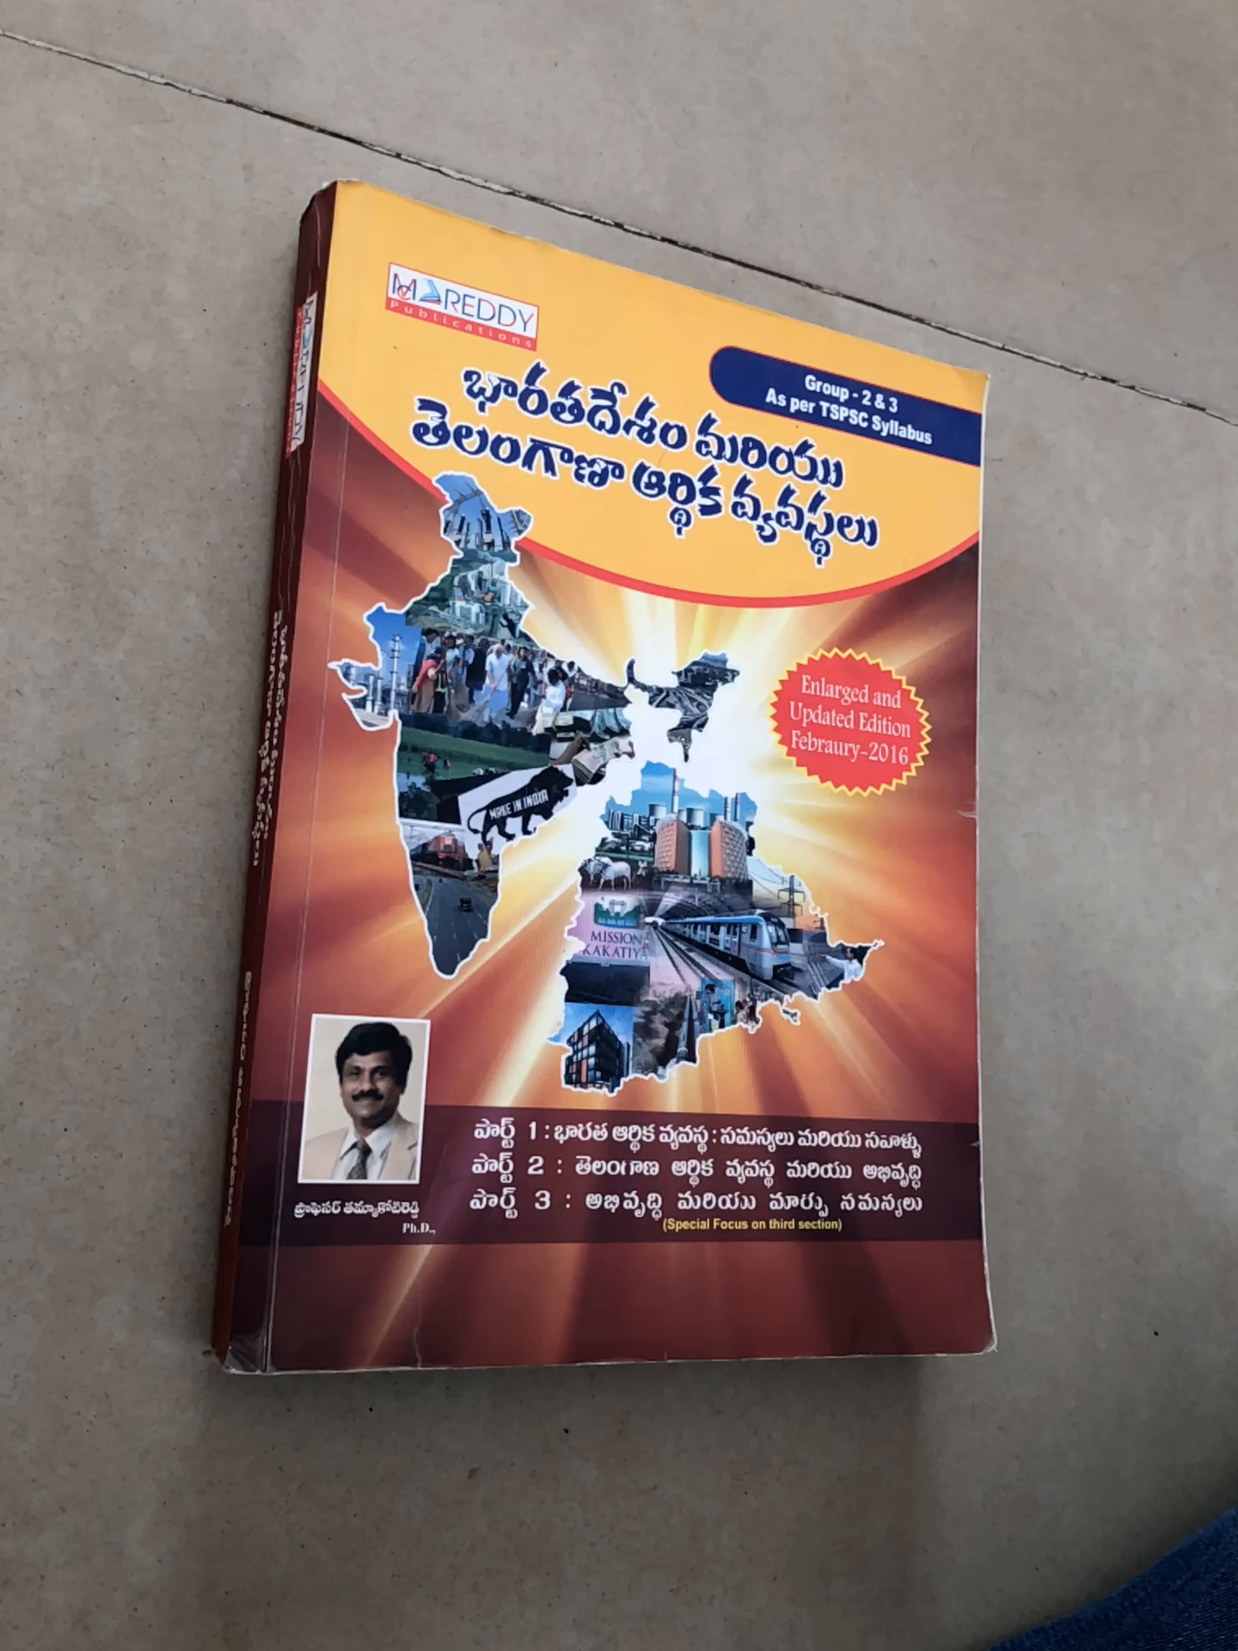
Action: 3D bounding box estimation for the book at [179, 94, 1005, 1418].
[{"bbox_3d":[0.007,-0.014,0.334,0.190,0.030,0.280,7,79,-24],"label":"book"}]
